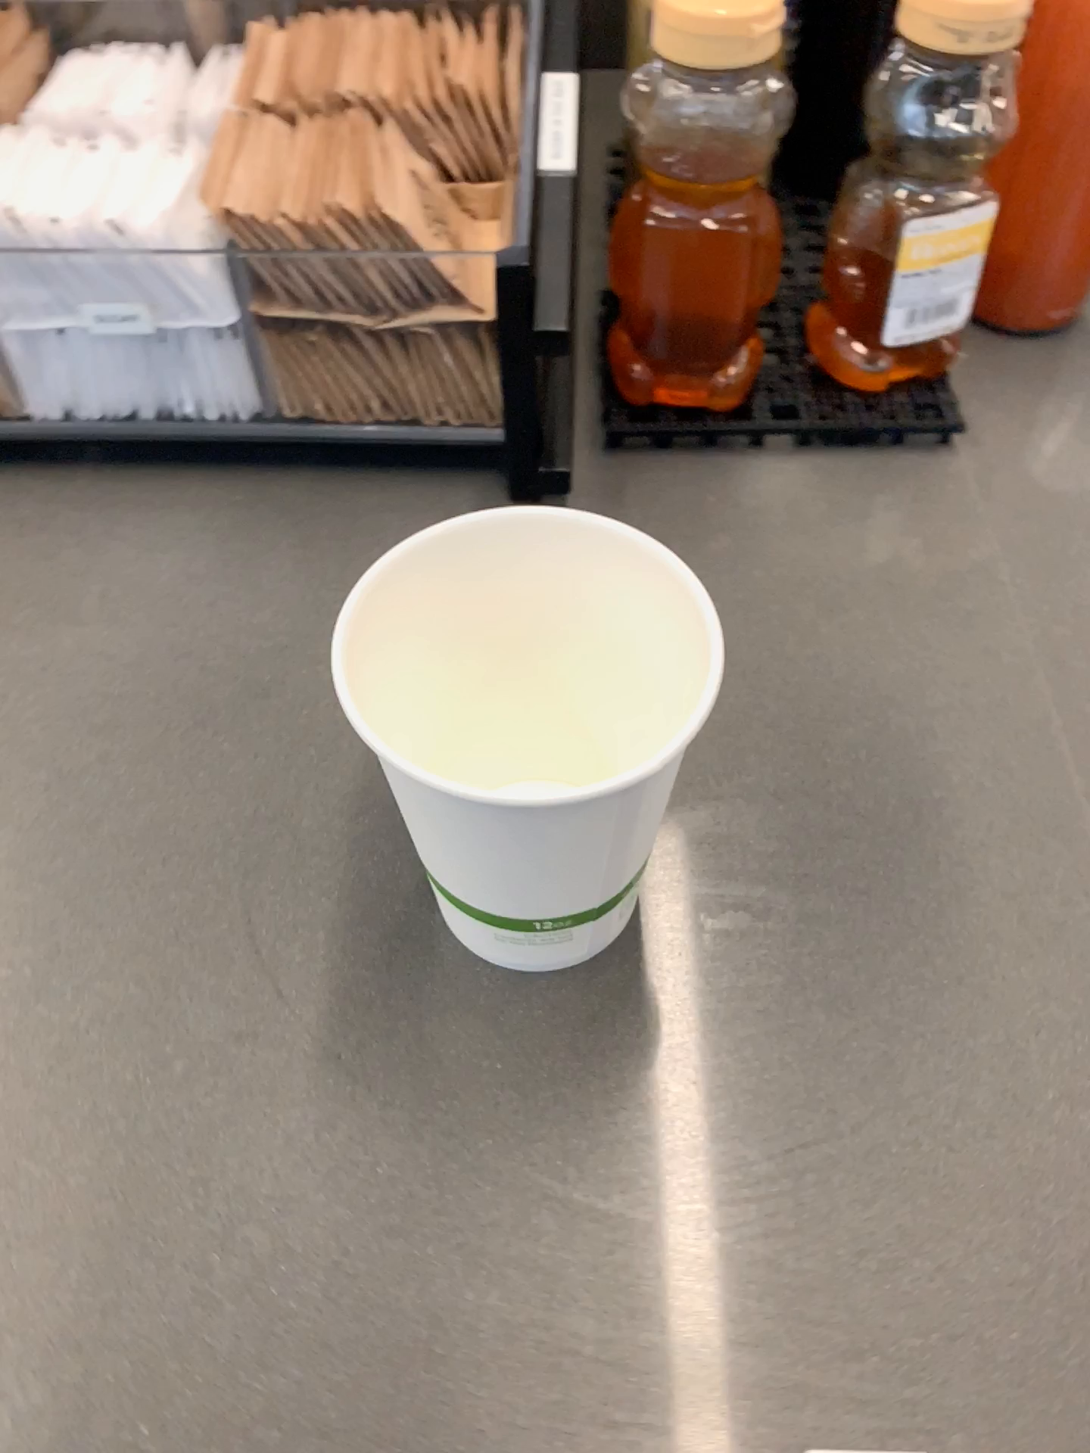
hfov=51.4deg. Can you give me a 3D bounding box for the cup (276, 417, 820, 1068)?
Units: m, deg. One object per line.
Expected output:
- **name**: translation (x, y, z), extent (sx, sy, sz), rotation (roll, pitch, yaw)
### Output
- **cup**: translation (0.002, 0.008, 0.281), extent (0.080, 0.119, 0.080), rotation (0, 52, 0)
